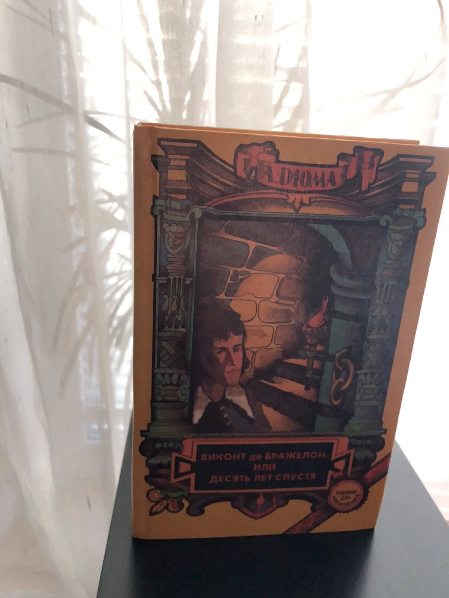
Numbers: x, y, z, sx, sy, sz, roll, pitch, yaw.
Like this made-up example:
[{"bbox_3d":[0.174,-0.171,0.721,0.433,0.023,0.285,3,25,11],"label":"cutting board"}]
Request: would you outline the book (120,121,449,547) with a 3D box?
[{"bbox_3d":[0.025,0.024,0.255,0.142,0.209,0.045,0,21,-6],"label":"book"}]
